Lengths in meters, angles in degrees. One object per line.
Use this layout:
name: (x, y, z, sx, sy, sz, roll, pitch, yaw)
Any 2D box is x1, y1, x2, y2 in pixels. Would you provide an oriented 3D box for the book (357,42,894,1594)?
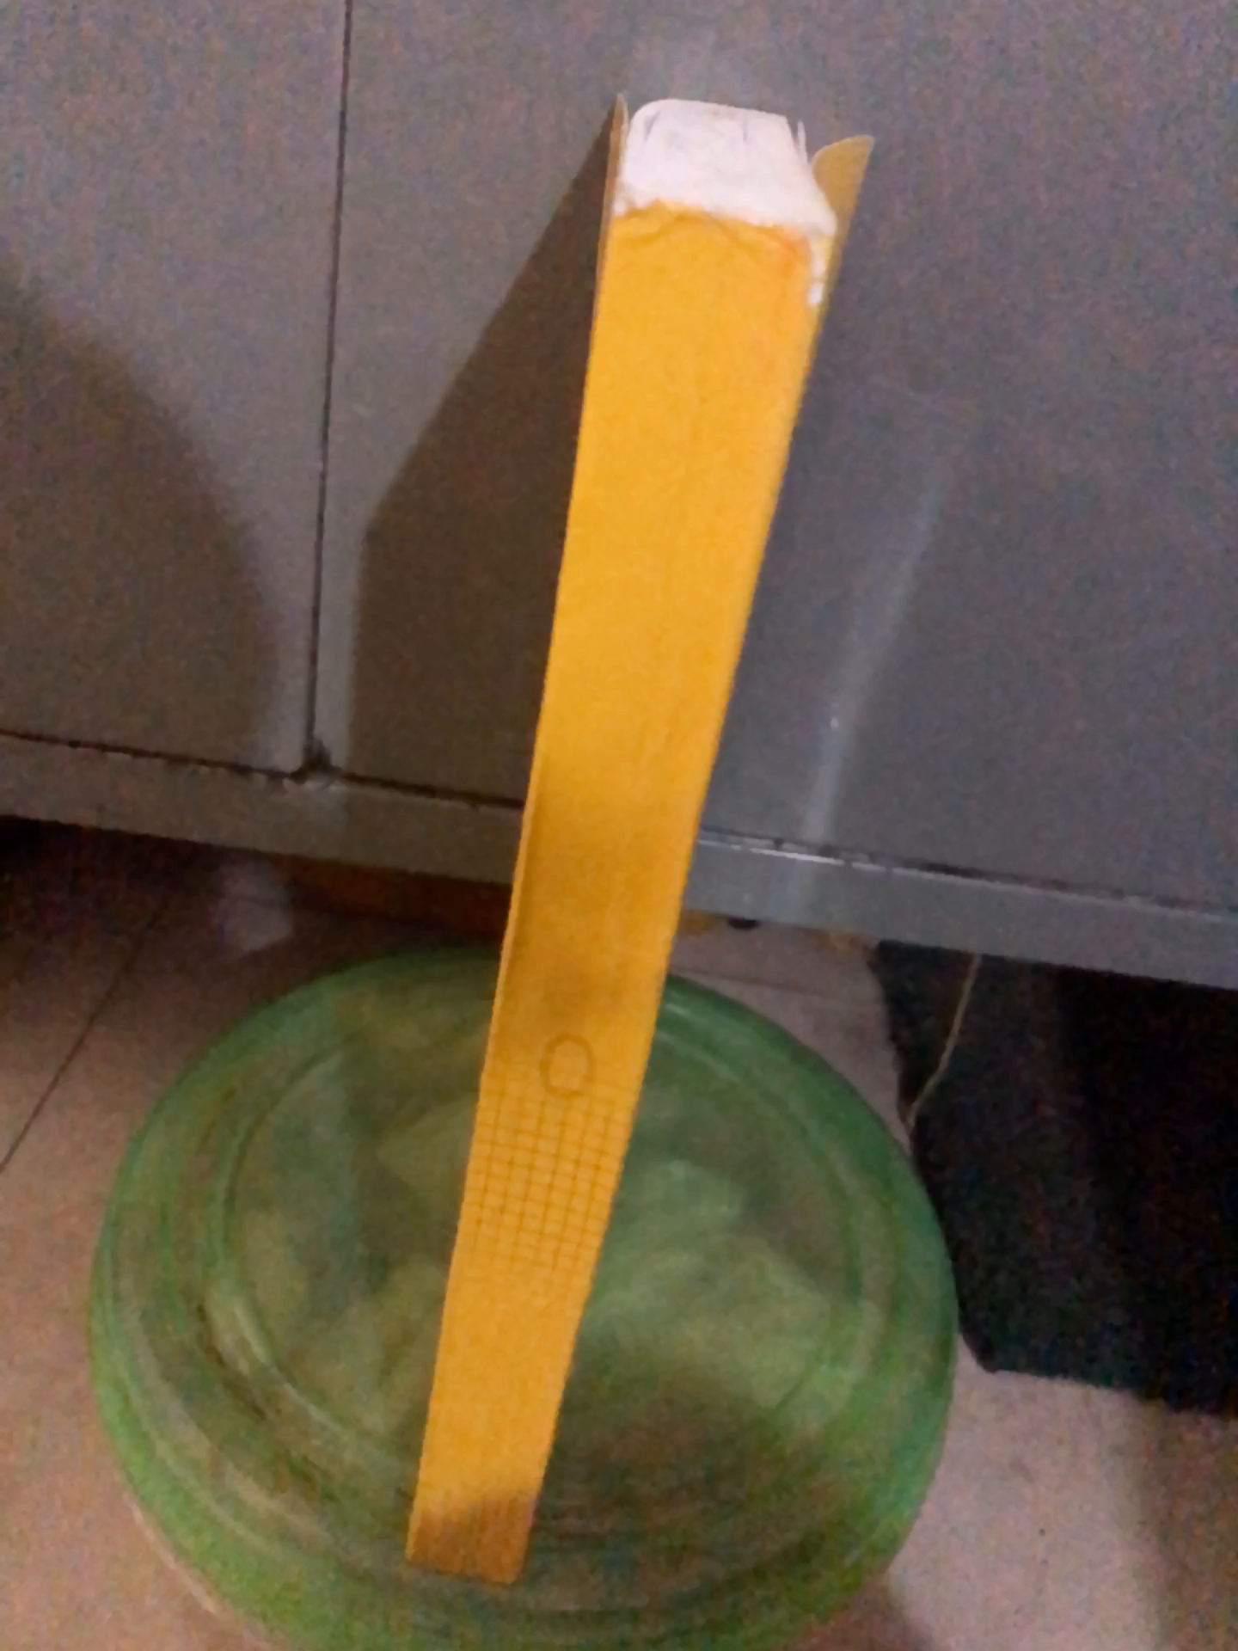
book: (-0.002, -0.015, 0.315, 0.040, 0.279, 0.221, 11, 31, 0)
